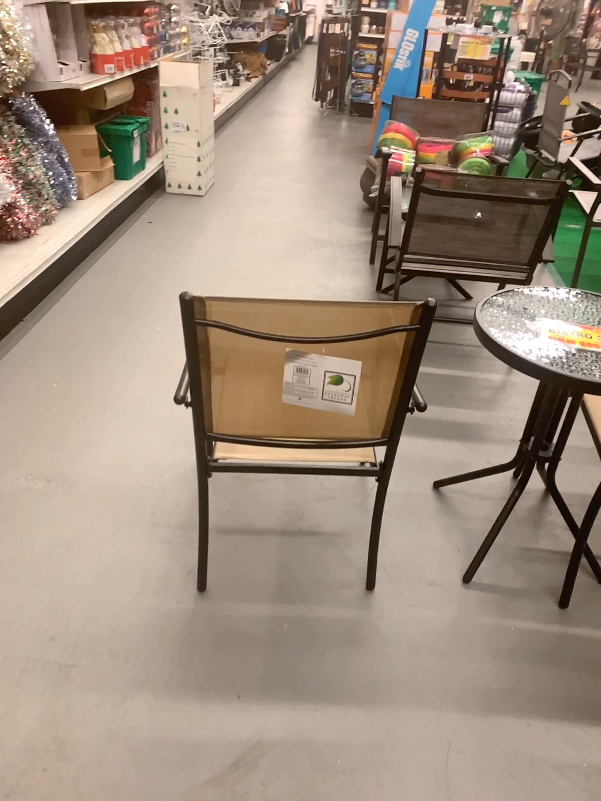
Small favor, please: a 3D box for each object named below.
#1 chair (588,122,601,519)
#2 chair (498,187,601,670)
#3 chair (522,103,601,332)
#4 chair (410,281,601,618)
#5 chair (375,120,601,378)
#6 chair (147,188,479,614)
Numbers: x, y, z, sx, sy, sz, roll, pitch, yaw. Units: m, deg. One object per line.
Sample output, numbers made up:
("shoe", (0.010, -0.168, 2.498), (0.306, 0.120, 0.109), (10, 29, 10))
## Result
("chair", (1.750, -0.342, 2.173), (0.804, 0.981, 1.031), (6, 33, 2))
("chair", (0.979, 0.055, 1.513), (0.614, 0.922, 0.679), (5, 33, 1))
("chair", (1.765, -1.021, 3.316), (0.674, 0.922, 0.890), (6, 33, 2))
("chair", (0.626, 0.113, 1.598), (0.524, 0.633, 0.548), (5, 33, 1))
("chair", (0.723, -0.707, 2.696), (0.674, 0.802, 0.890), (6, 33, 2))
("chair", (-0.011, 0.001, 1.543), (0.574, 0.862, 0.619), (2, 33, -4))
